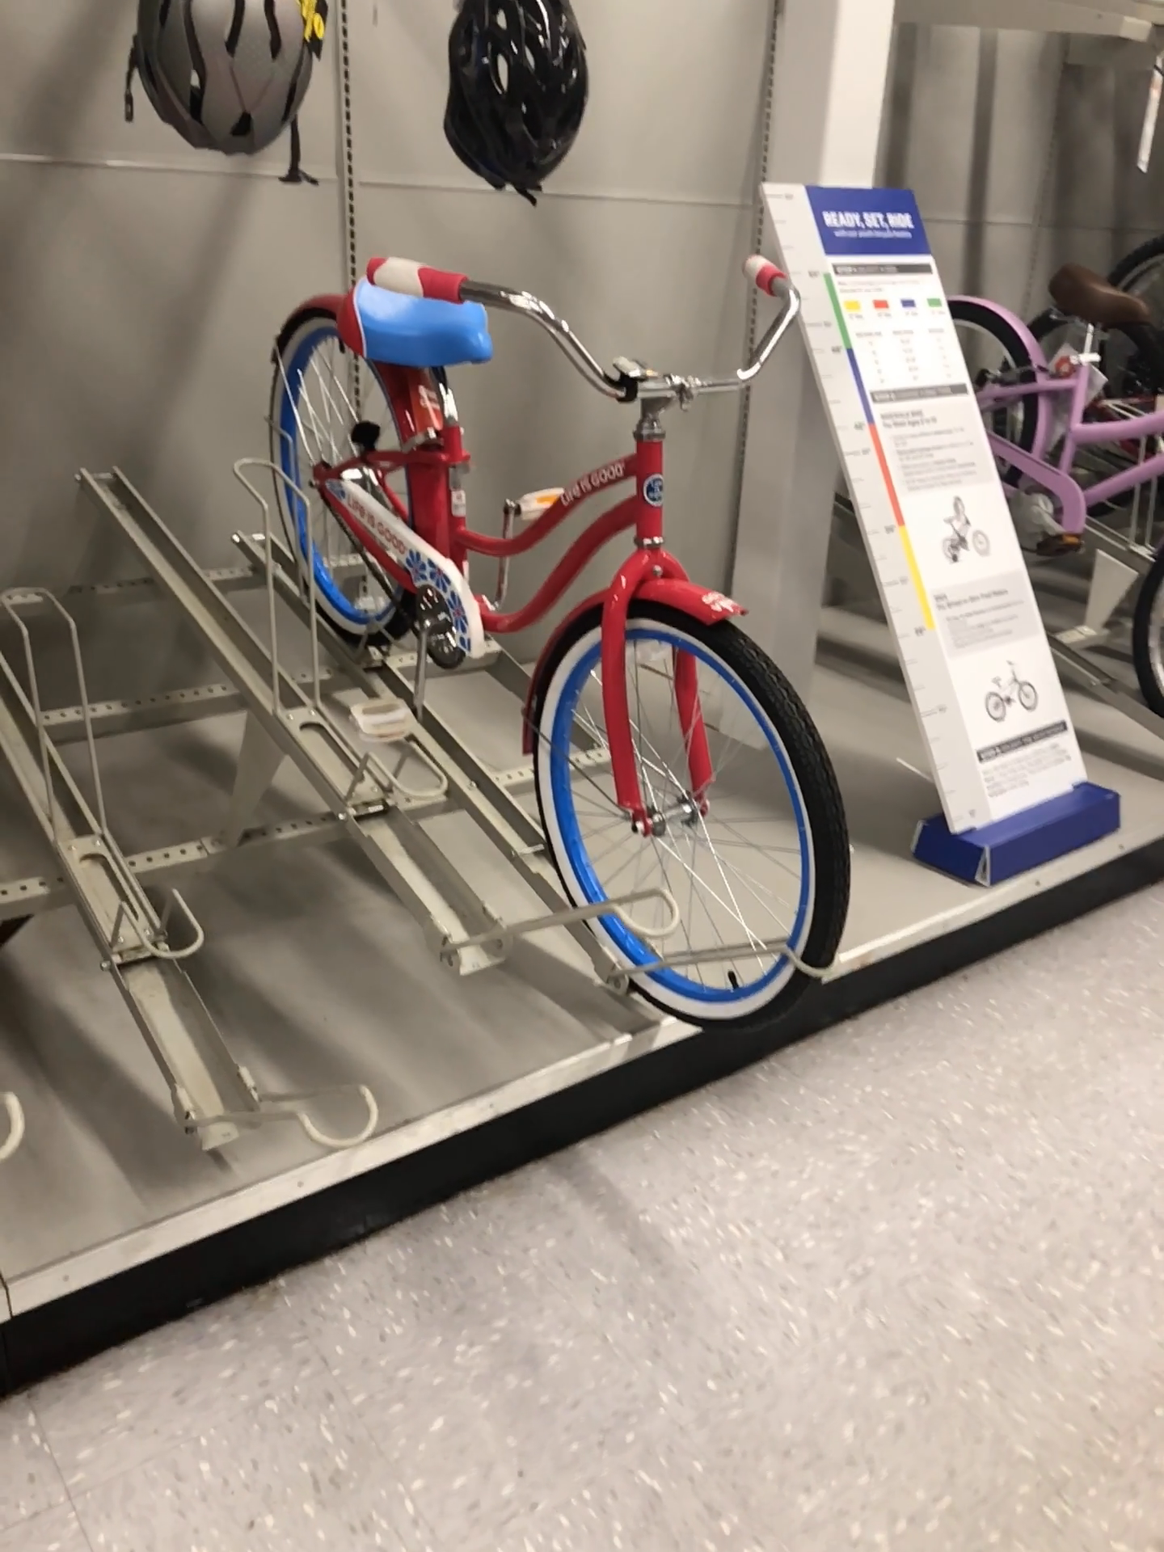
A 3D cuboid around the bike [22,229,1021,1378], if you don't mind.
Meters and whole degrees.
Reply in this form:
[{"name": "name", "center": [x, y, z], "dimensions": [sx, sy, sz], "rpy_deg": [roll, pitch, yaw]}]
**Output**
[{"name": "bike", "center": [-0.196, -0.196, 2.053], "dimensions": [0.811, 0.676, 1.611], "rpy_deg": [-14, 43, -35]}]
